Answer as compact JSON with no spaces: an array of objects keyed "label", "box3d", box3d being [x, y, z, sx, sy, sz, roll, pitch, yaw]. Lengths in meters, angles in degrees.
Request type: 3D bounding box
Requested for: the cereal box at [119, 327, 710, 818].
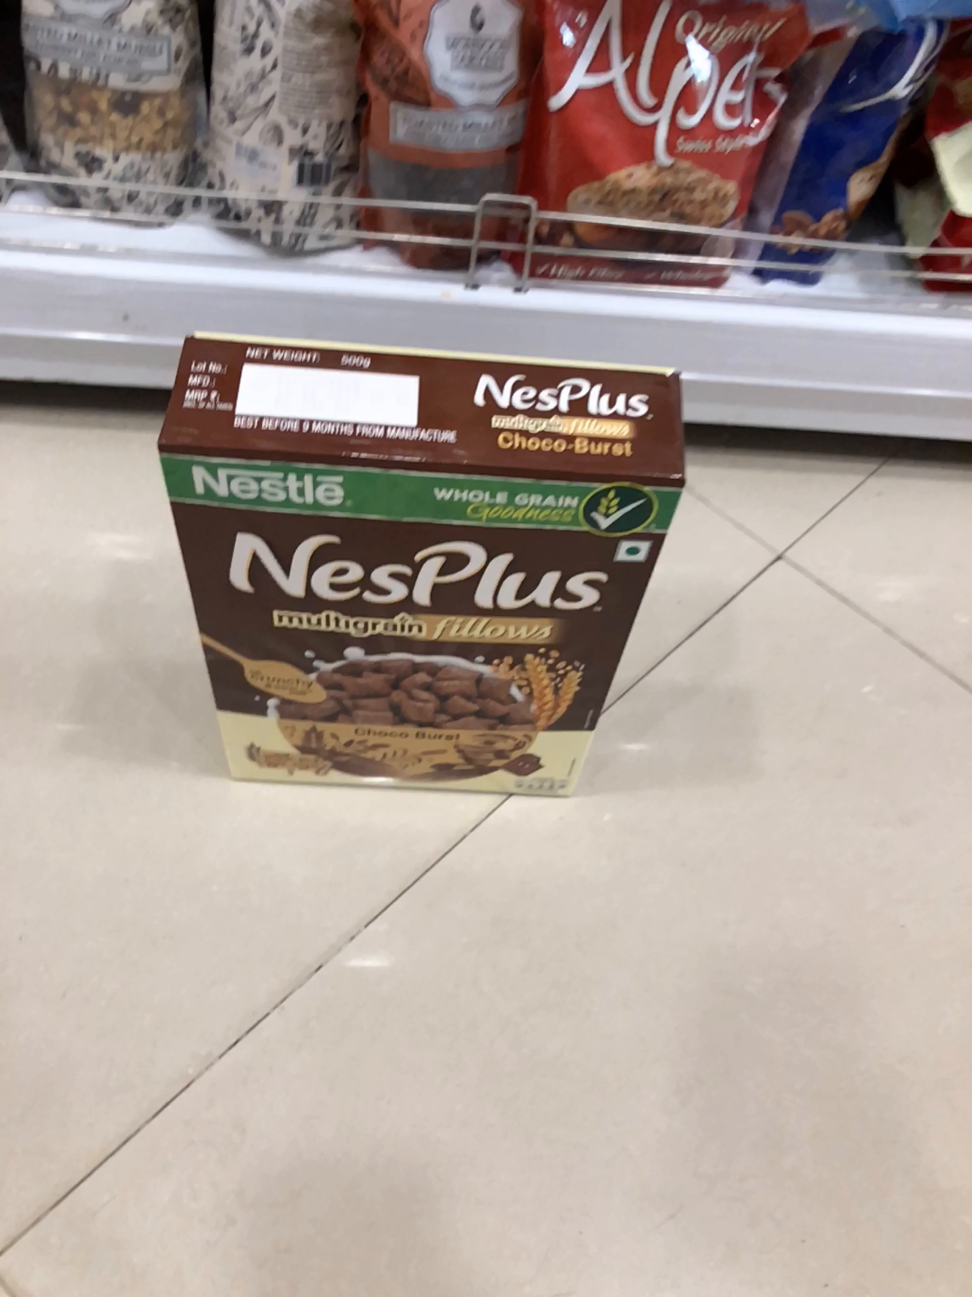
[{"label":"cereal box","box3d":[-0.034,-0.012,0.486,0.200,0.259,0.060,4,55,-4]}]
